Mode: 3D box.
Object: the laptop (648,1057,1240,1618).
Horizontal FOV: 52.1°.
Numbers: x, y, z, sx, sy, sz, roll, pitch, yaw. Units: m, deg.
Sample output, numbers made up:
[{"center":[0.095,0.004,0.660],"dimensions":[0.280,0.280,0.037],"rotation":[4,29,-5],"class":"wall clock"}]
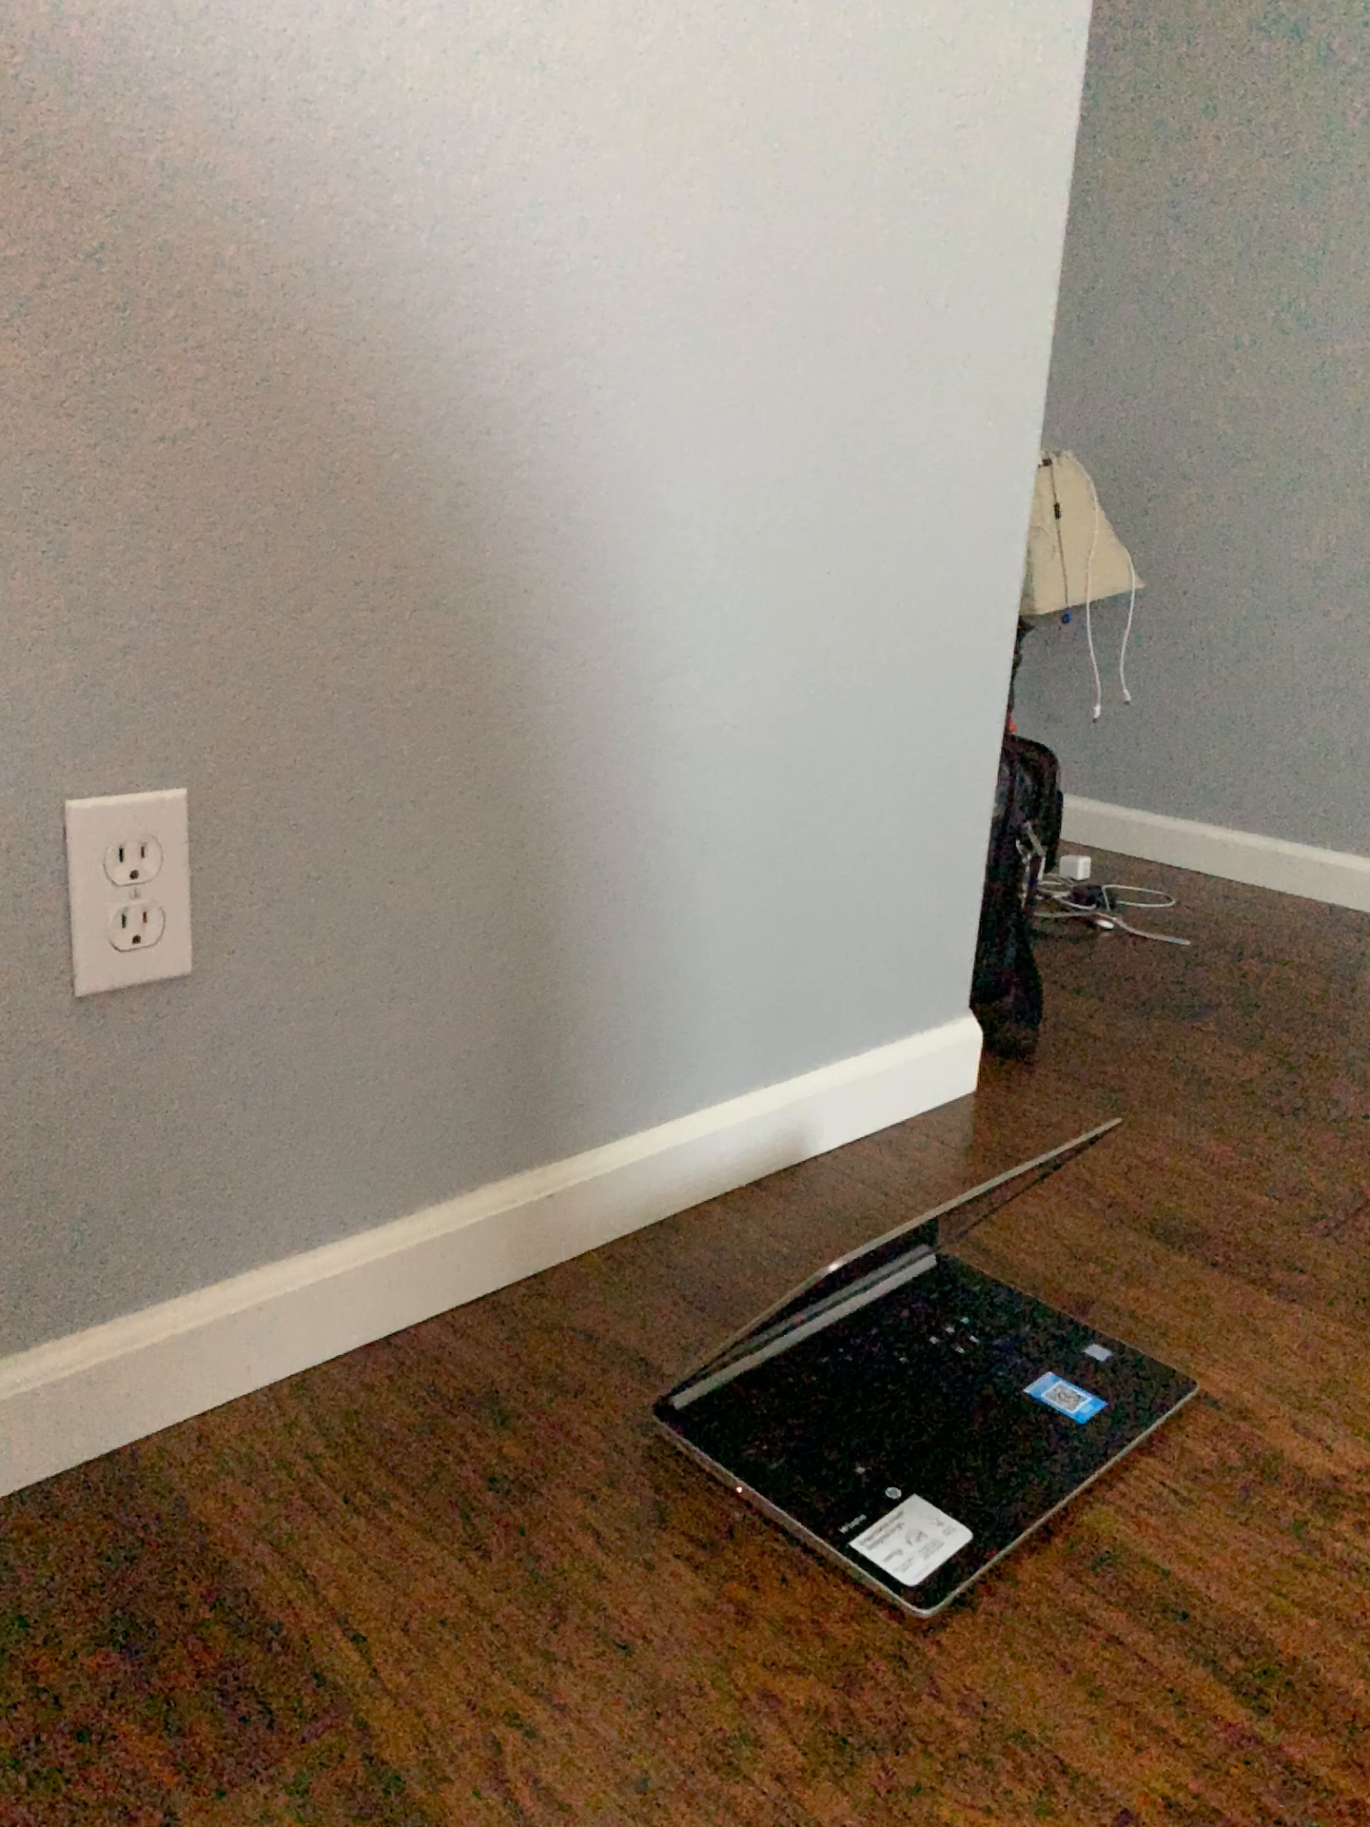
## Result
[{"center":[0.172,0.245,0.915],"dimensions":[0.220,0.169,0.317],"rotation":[19,23,41],"class":"laptop"}]
